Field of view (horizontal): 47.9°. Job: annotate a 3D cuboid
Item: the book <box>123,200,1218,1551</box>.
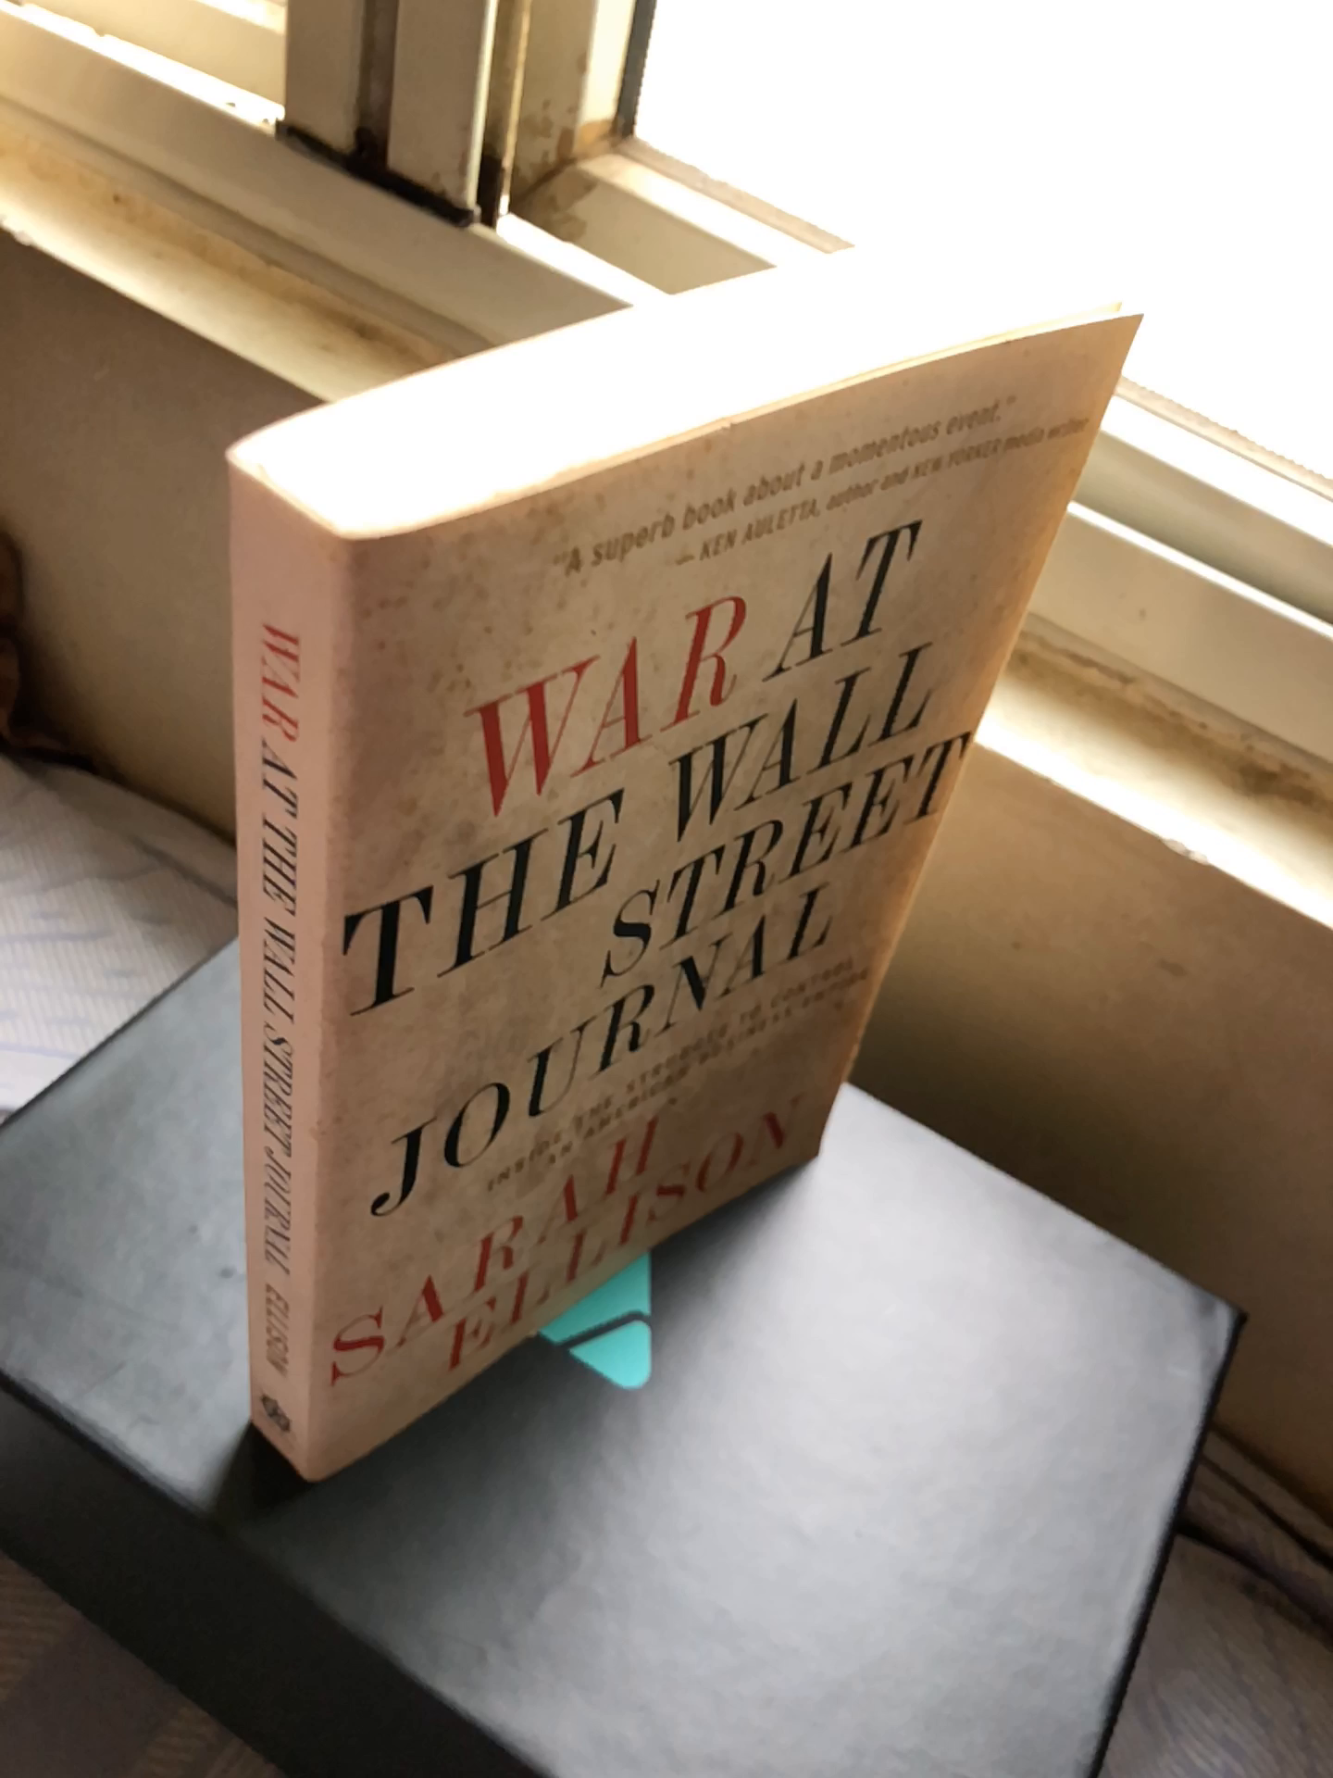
[{"bbox_3d":[-0.005,0.004,0.240,0.150,0.199,0.030,-27,56,-37],"label":"book"}]
